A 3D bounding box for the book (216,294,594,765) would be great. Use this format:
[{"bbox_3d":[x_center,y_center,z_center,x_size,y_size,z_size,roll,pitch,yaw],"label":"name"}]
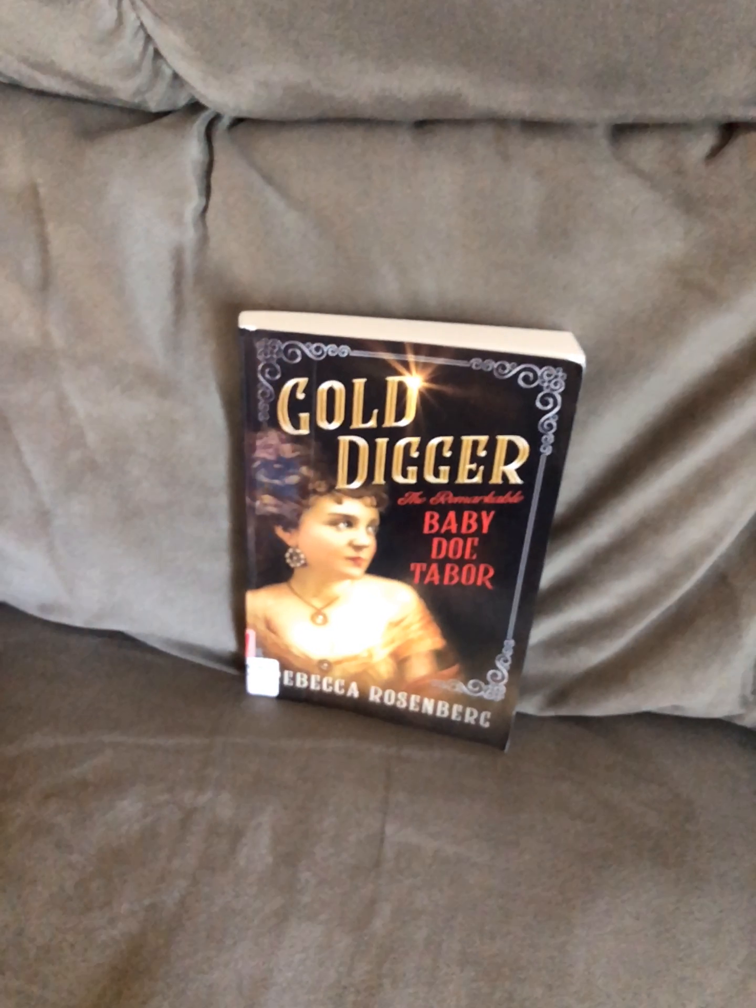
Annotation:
[{"bbox_3d":[0.003,0.017,0.386,0.150,0.200,0.030,10,28,11],"label":"book"}]
